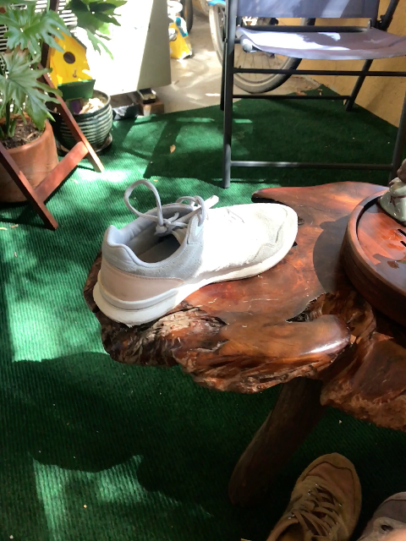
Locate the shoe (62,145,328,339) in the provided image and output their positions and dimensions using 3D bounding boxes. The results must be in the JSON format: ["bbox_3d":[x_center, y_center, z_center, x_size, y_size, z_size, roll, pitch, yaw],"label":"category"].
[{"bbox_3d":[-0.004,-0.042,0.494,0.264,0.091,0.103,-23,48,-19],"label":"shoe"}]
